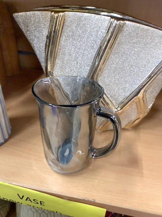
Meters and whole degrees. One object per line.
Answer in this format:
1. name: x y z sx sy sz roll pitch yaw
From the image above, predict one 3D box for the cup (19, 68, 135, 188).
1. cup: -0.001 0.020 0.212 0.110 0.110 0.070 10 33 11
